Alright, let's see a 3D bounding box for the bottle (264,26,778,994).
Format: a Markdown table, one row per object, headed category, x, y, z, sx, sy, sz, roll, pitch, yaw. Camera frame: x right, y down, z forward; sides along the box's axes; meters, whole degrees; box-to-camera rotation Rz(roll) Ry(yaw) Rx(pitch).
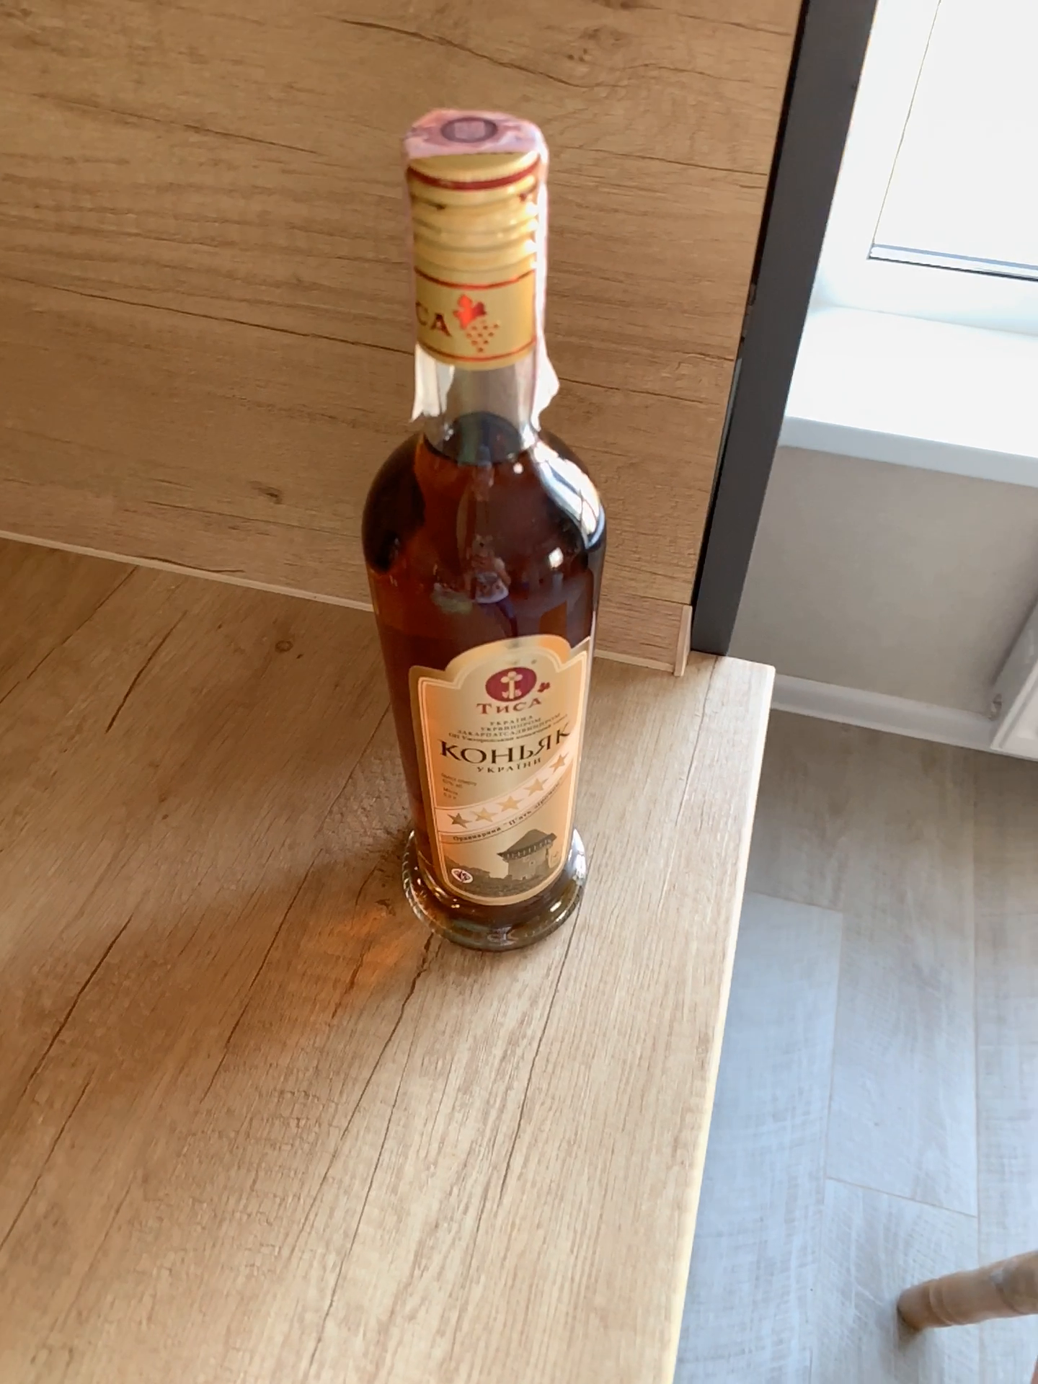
| category | x | y | z | sx | sy | sz | roll | pitch | yaw |
| --- | --- | --- | --- | --- | --- | --- | --- | --- | --- |
| bottle | -0.005 | -0.015 | 0.299 | 0.080 | 0.279 | 0.070 | -9 | 51 | -8 |
